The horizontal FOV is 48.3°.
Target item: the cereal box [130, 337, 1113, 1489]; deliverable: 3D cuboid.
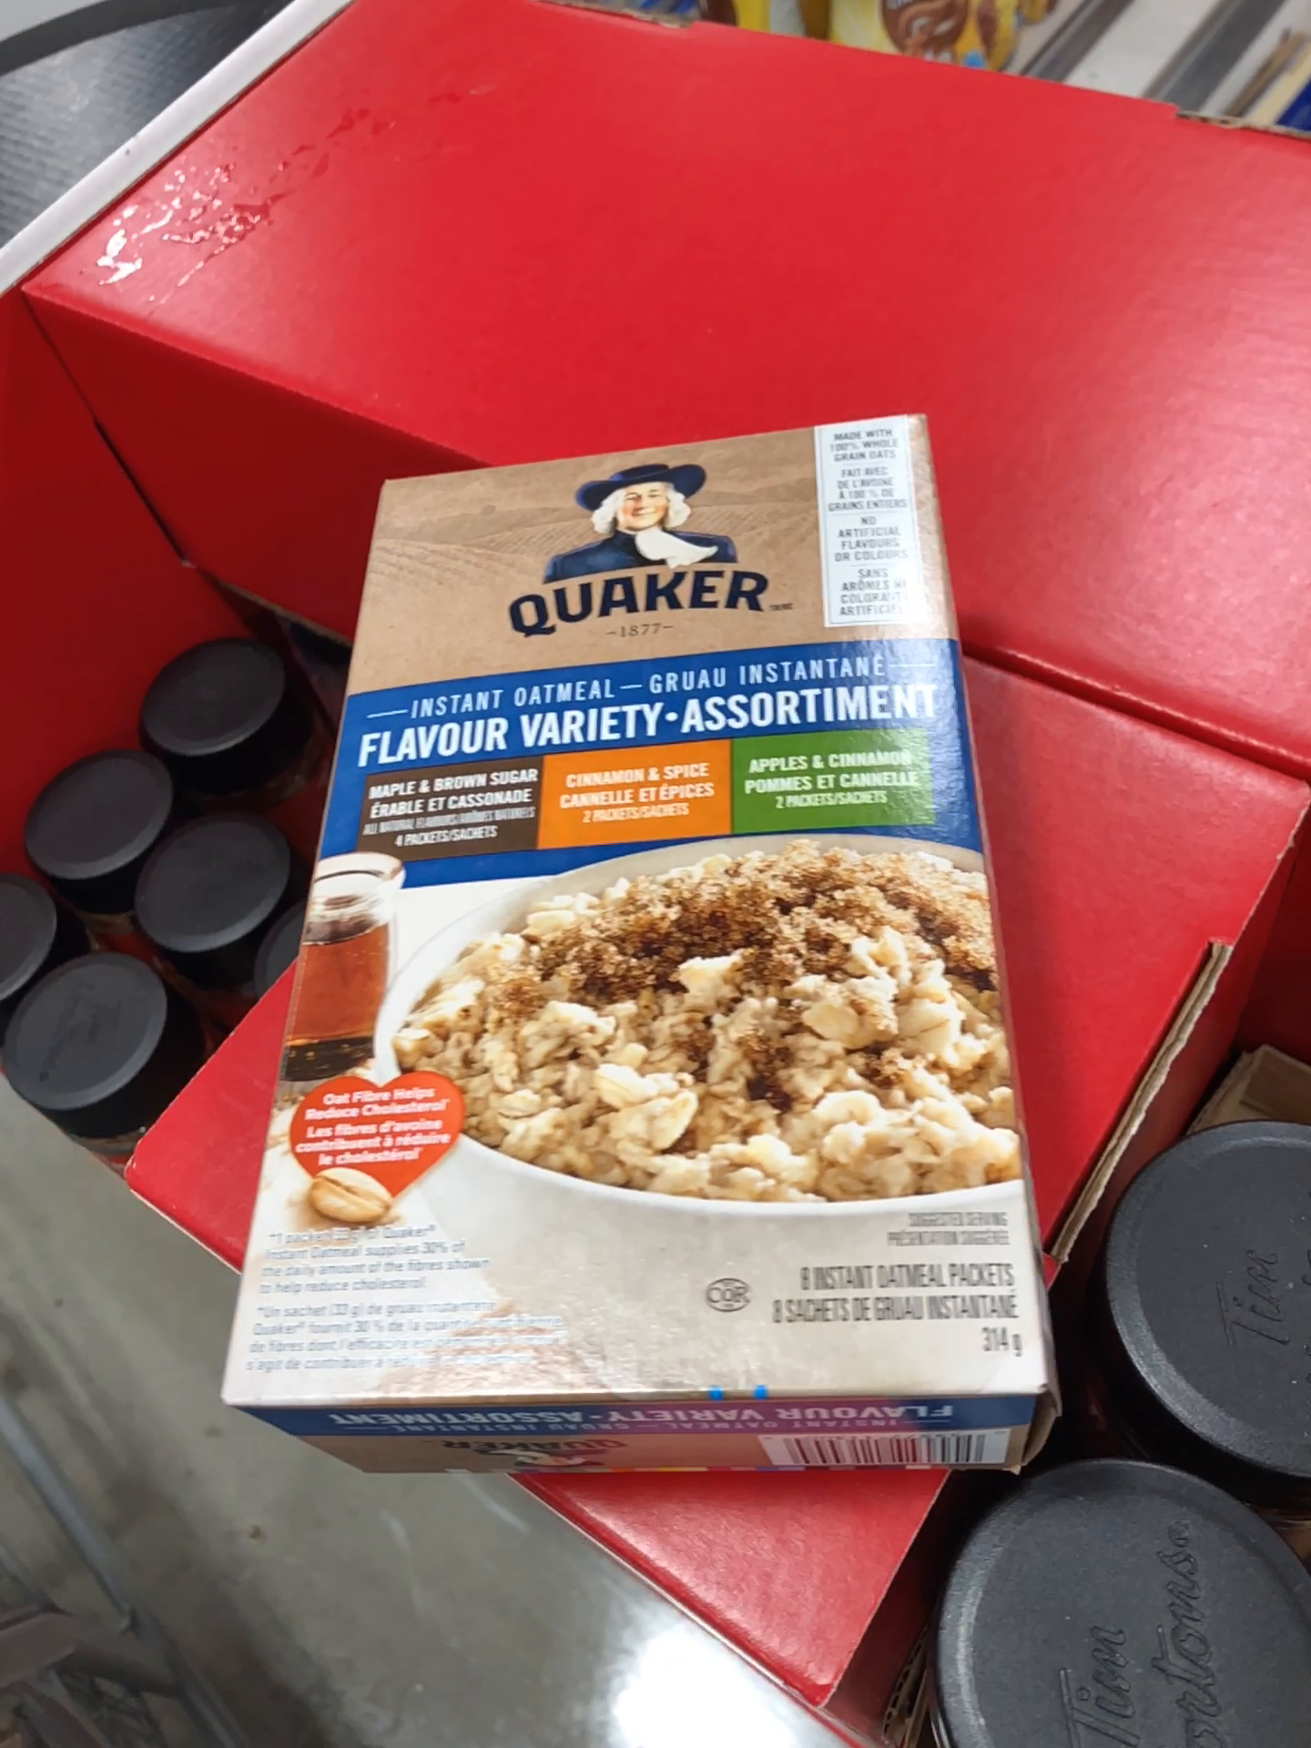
[{"bbox_3d":[0.000,0.002,0.287,0.140,0.070,0.210,-4,59,9],"label":"cereal box"}]
